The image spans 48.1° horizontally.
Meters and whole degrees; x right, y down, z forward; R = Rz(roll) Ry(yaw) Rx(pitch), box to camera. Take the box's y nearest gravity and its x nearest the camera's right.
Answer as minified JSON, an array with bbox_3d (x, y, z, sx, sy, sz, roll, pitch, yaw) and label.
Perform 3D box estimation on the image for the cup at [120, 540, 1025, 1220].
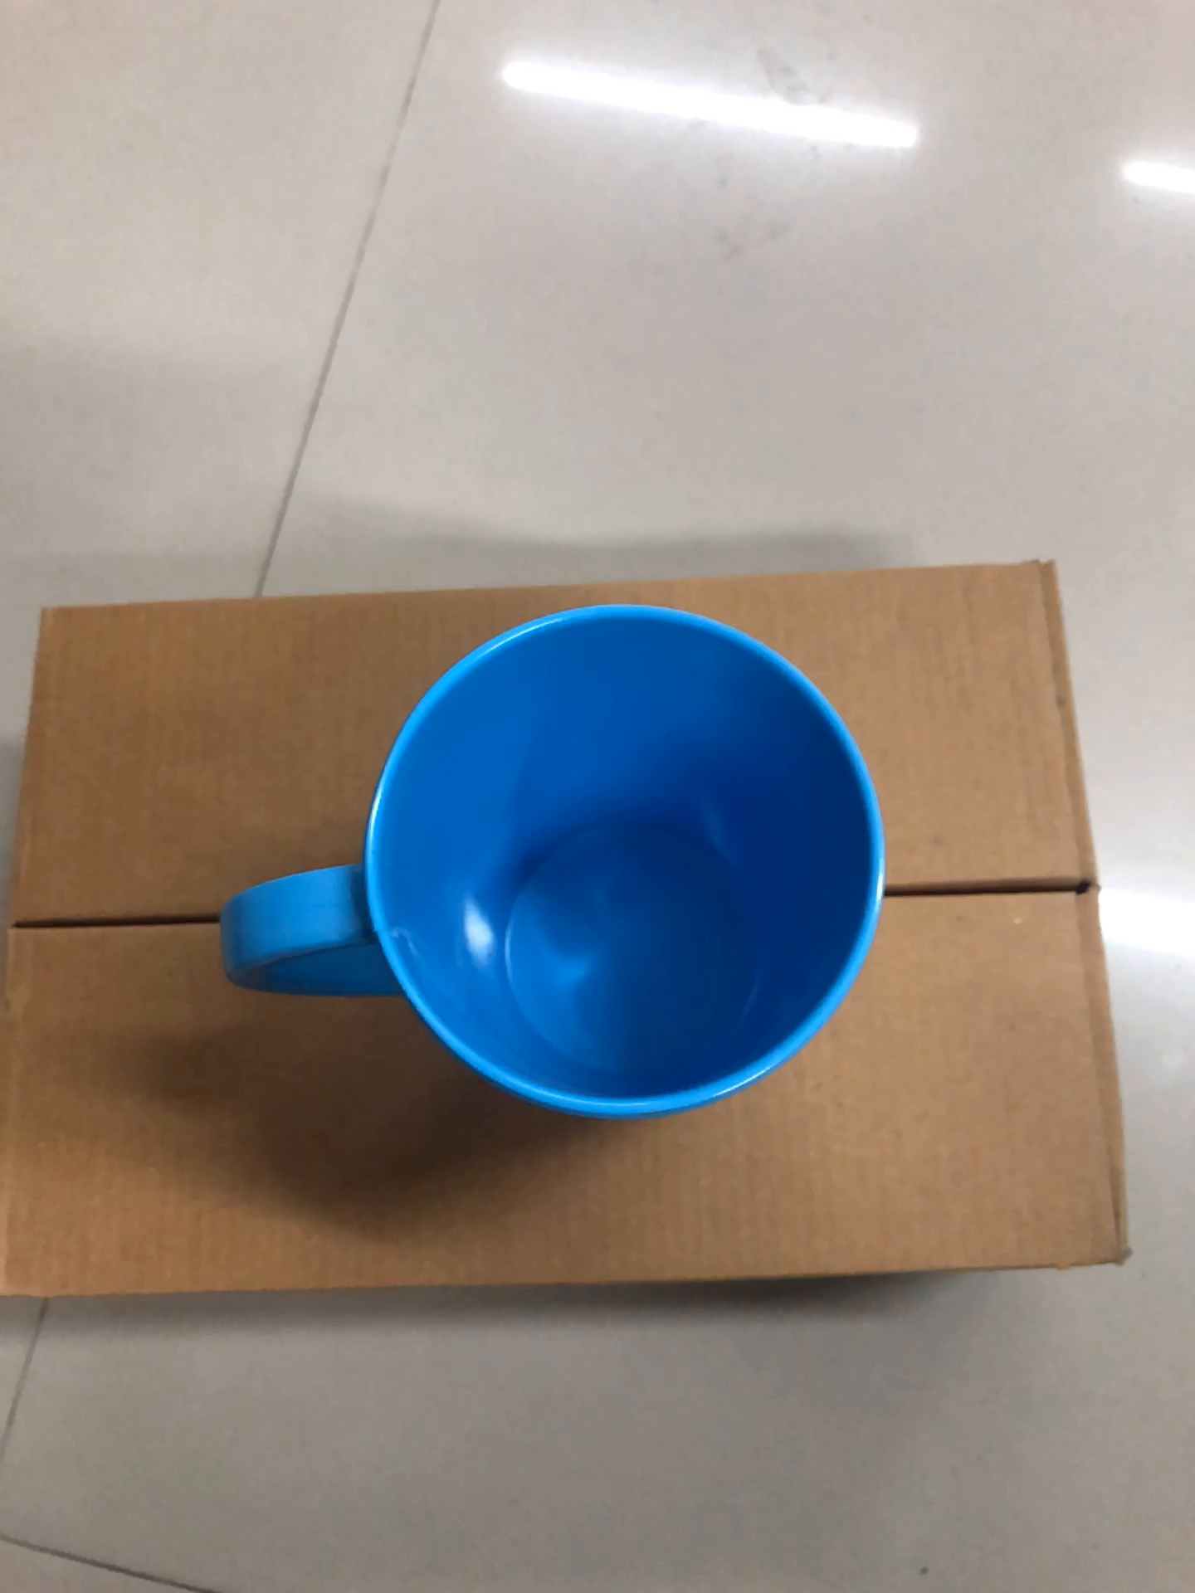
[{"bbox_3d":[-0.006,0.021,0.239,0.120,0.090,0.080,-11,74,-1],"label":"cup"}]
